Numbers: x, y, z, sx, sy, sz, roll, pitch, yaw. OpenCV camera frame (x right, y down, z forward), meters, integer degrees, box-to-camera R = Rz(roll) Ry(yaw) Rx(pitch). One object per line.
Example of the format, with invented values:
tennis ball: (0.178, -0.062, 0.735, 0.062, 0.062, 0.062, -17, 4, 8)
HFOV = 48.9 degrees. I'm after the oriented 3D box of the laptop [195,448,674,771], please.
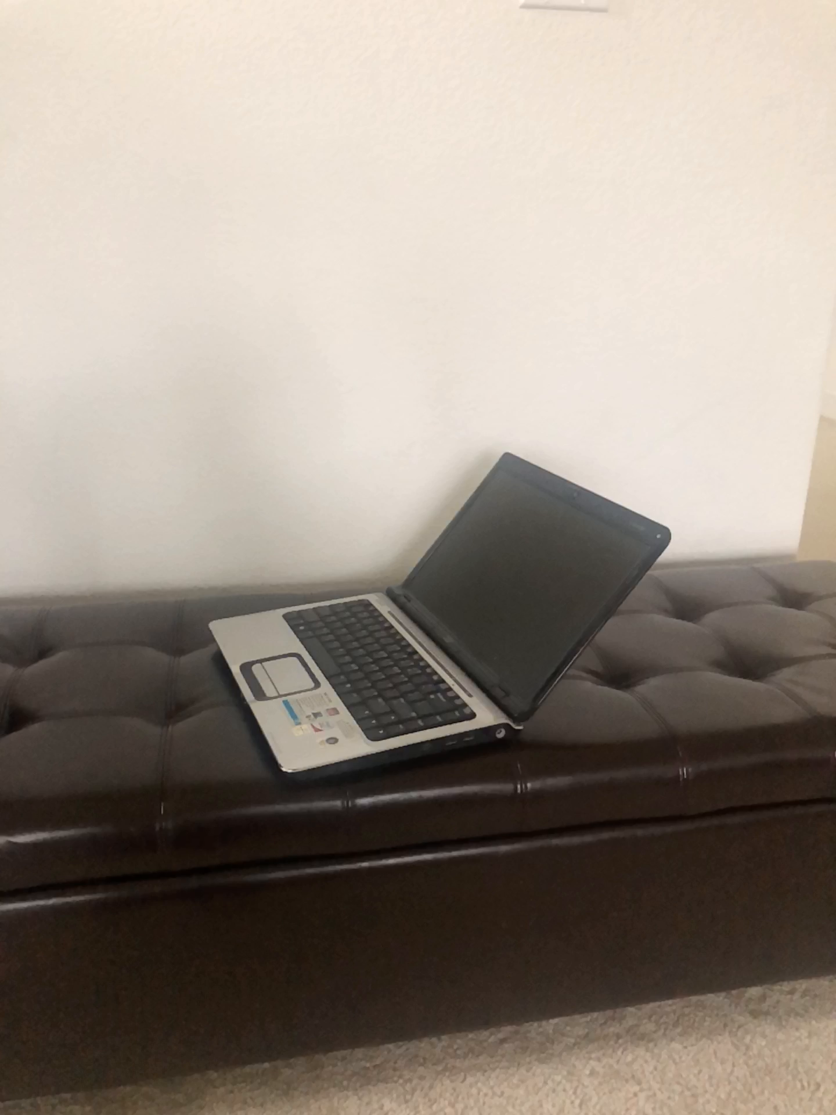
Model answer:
laptop: (-0.002, 0.021, 0.949, 0.381, 0.161, 0.327, -9, 22, -23)
